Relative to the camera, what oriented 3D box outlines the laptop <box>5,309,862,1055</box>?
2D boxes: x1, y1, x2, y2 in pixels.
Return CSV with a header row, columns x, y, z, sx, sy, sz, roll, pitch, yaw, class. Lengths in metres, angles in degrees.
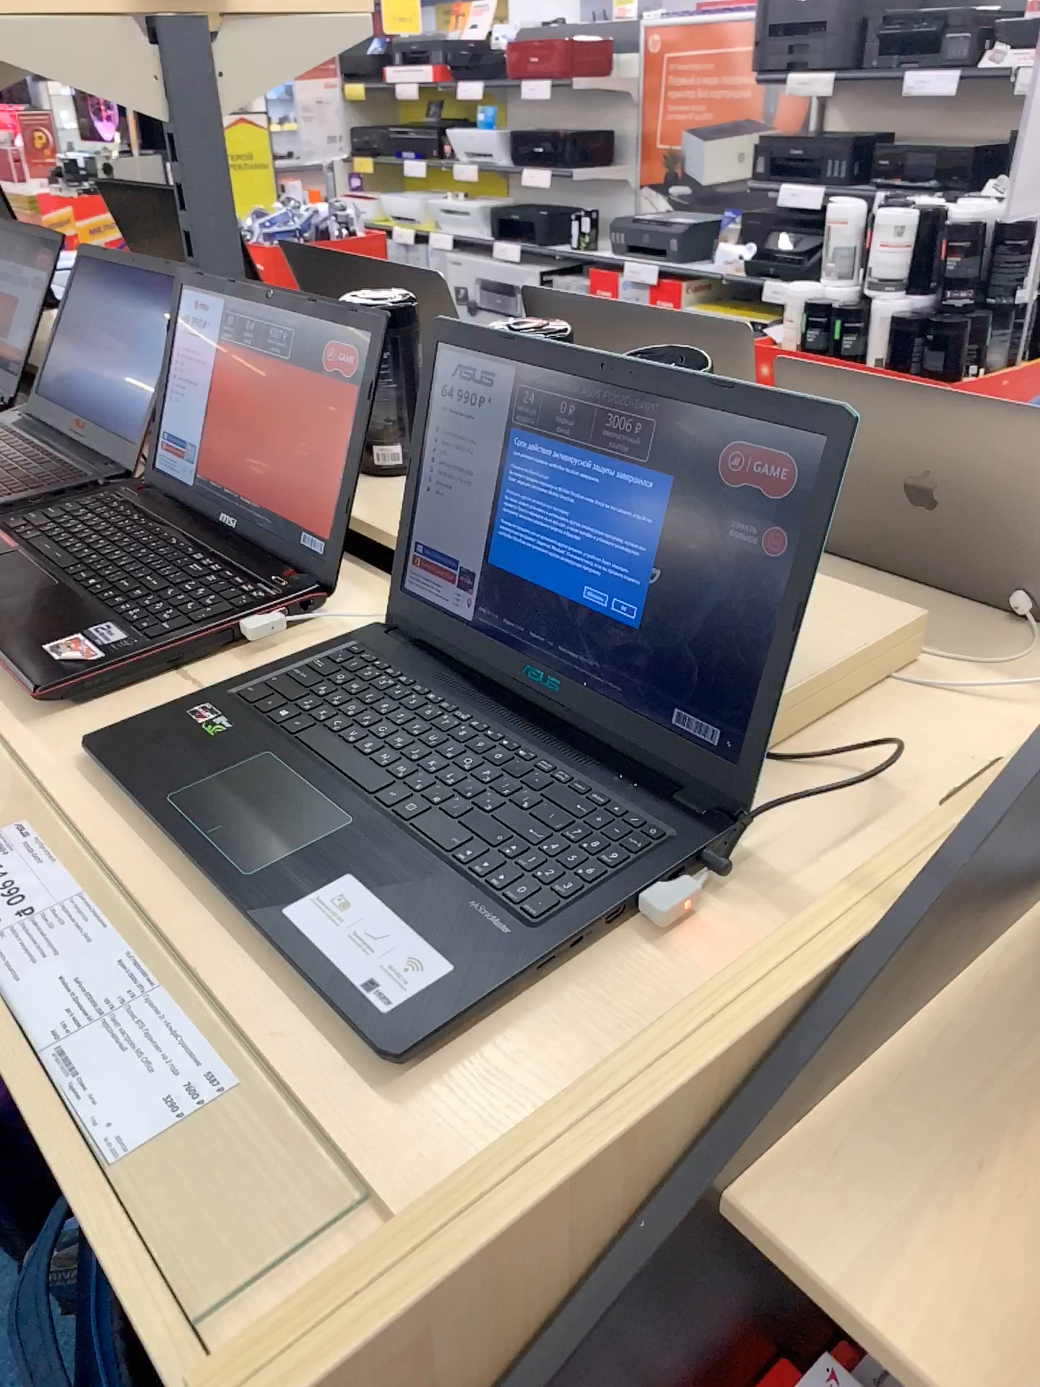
x,y,z,sx,sy,sz,roll,pitch,yaw,class
-0.057,-0.061,0.630,0.318,0.222,0.359,-26,37,-33,laptop
